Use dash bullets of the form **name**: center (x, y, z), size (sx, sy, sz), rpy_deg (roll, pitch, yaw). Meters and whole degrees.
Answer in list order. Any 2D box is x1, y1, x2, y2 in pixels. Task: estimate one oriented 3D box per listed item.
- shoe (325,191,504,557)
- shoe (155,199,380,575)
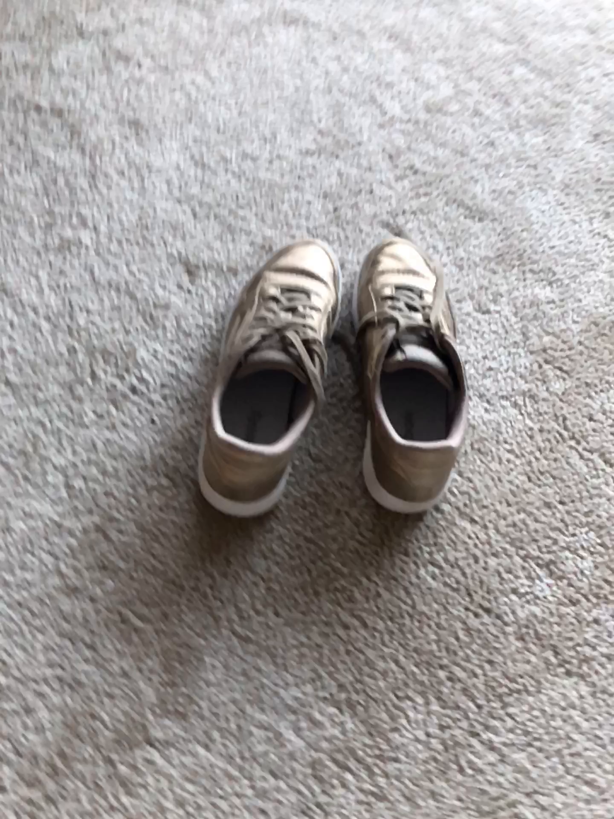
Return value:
- **shoe**: center (0.086, -0.036, 0.544), size (0.110, 0.070, 0.281), rpy_deg (9, 63, -4)
- **shoe**: center (-0.023, -0.027, 0.539), size (0.110, 0.070, 0.281), rpy_deg (13, 62, -2)
